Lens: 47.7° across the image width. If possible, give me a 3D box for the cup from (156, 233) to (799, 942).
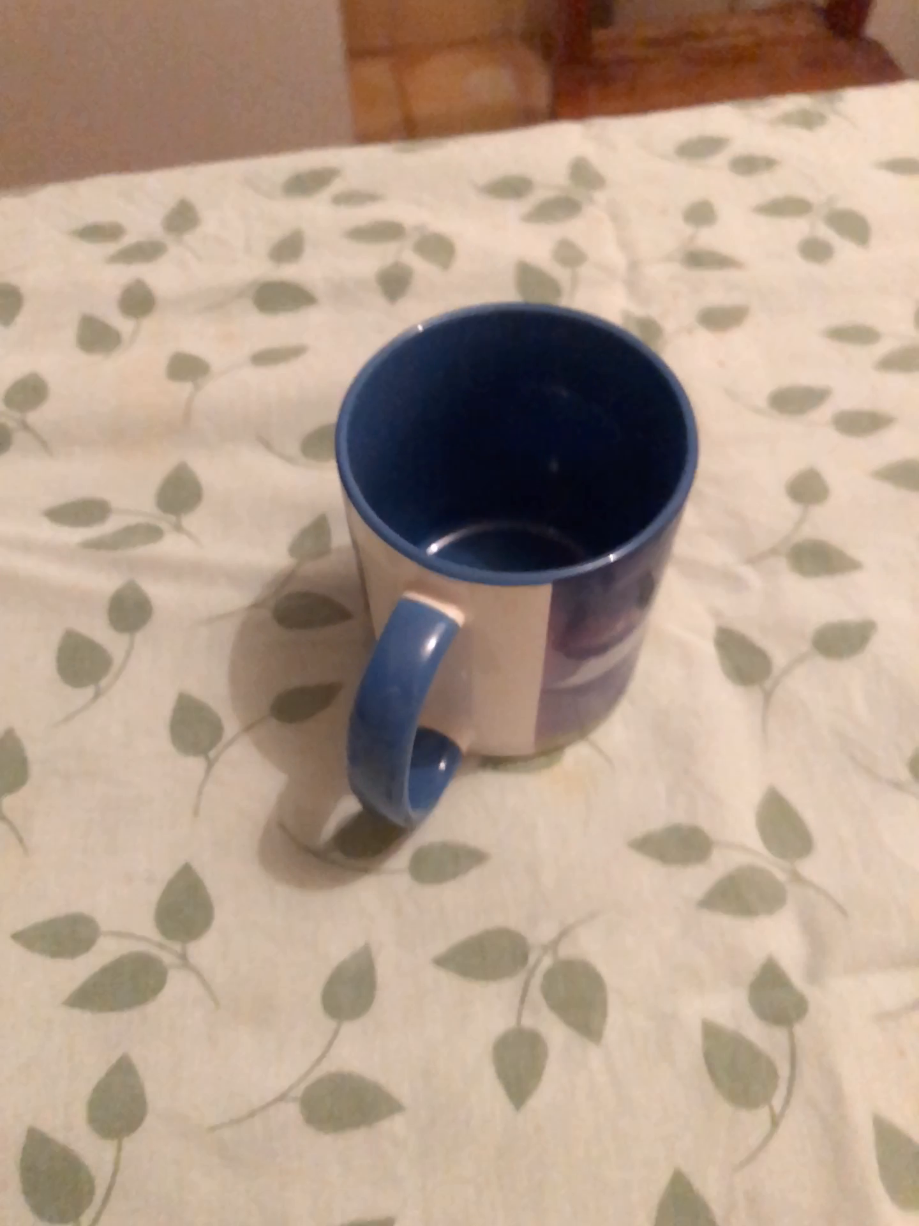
[{"bbox_3d":[0.009,-0.004,0.261,0.090,0.100,0.121,24,63,13],"label":"cup"}]
